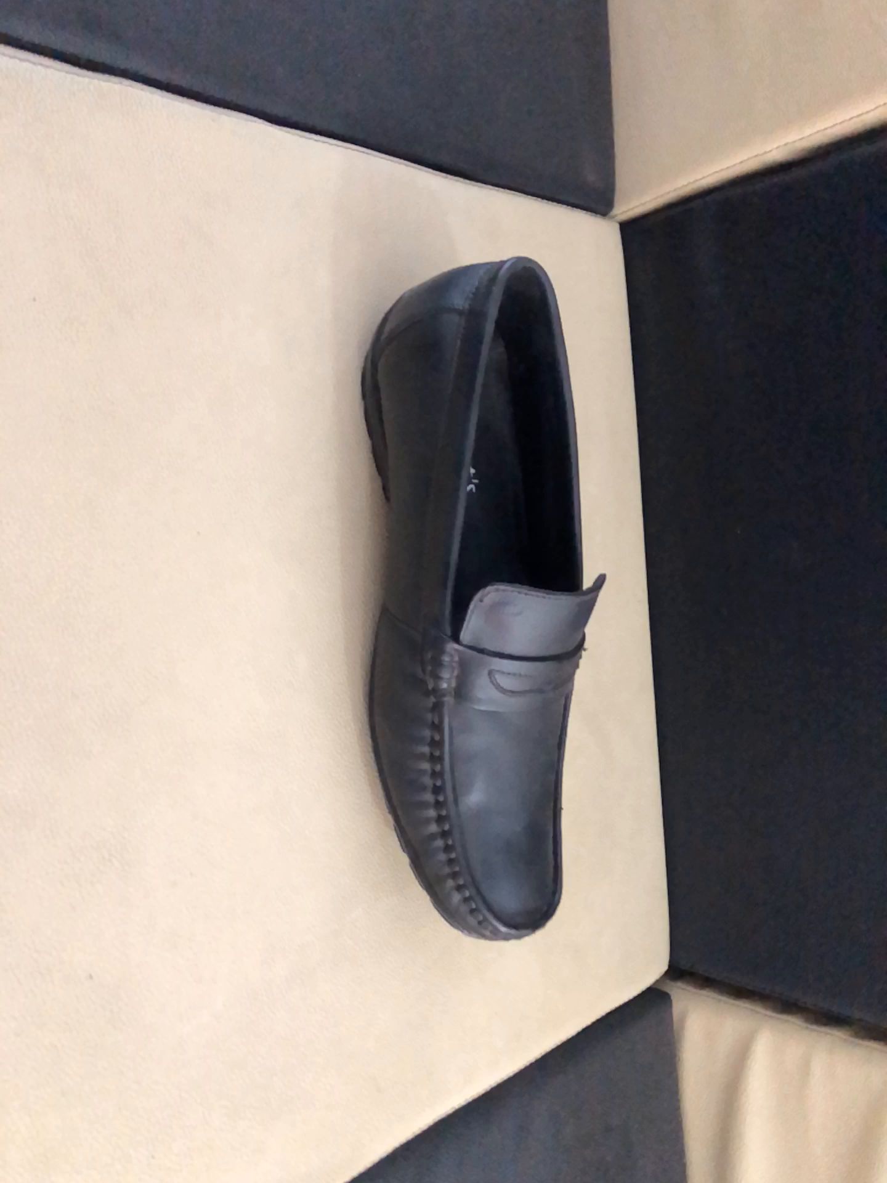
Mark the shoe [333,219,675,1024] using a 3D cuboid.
[{"bbox_3d":[0.027,0.010,0.416,0.101,0.079,0.290,-4,90,-43],"label":"shoe"}]
